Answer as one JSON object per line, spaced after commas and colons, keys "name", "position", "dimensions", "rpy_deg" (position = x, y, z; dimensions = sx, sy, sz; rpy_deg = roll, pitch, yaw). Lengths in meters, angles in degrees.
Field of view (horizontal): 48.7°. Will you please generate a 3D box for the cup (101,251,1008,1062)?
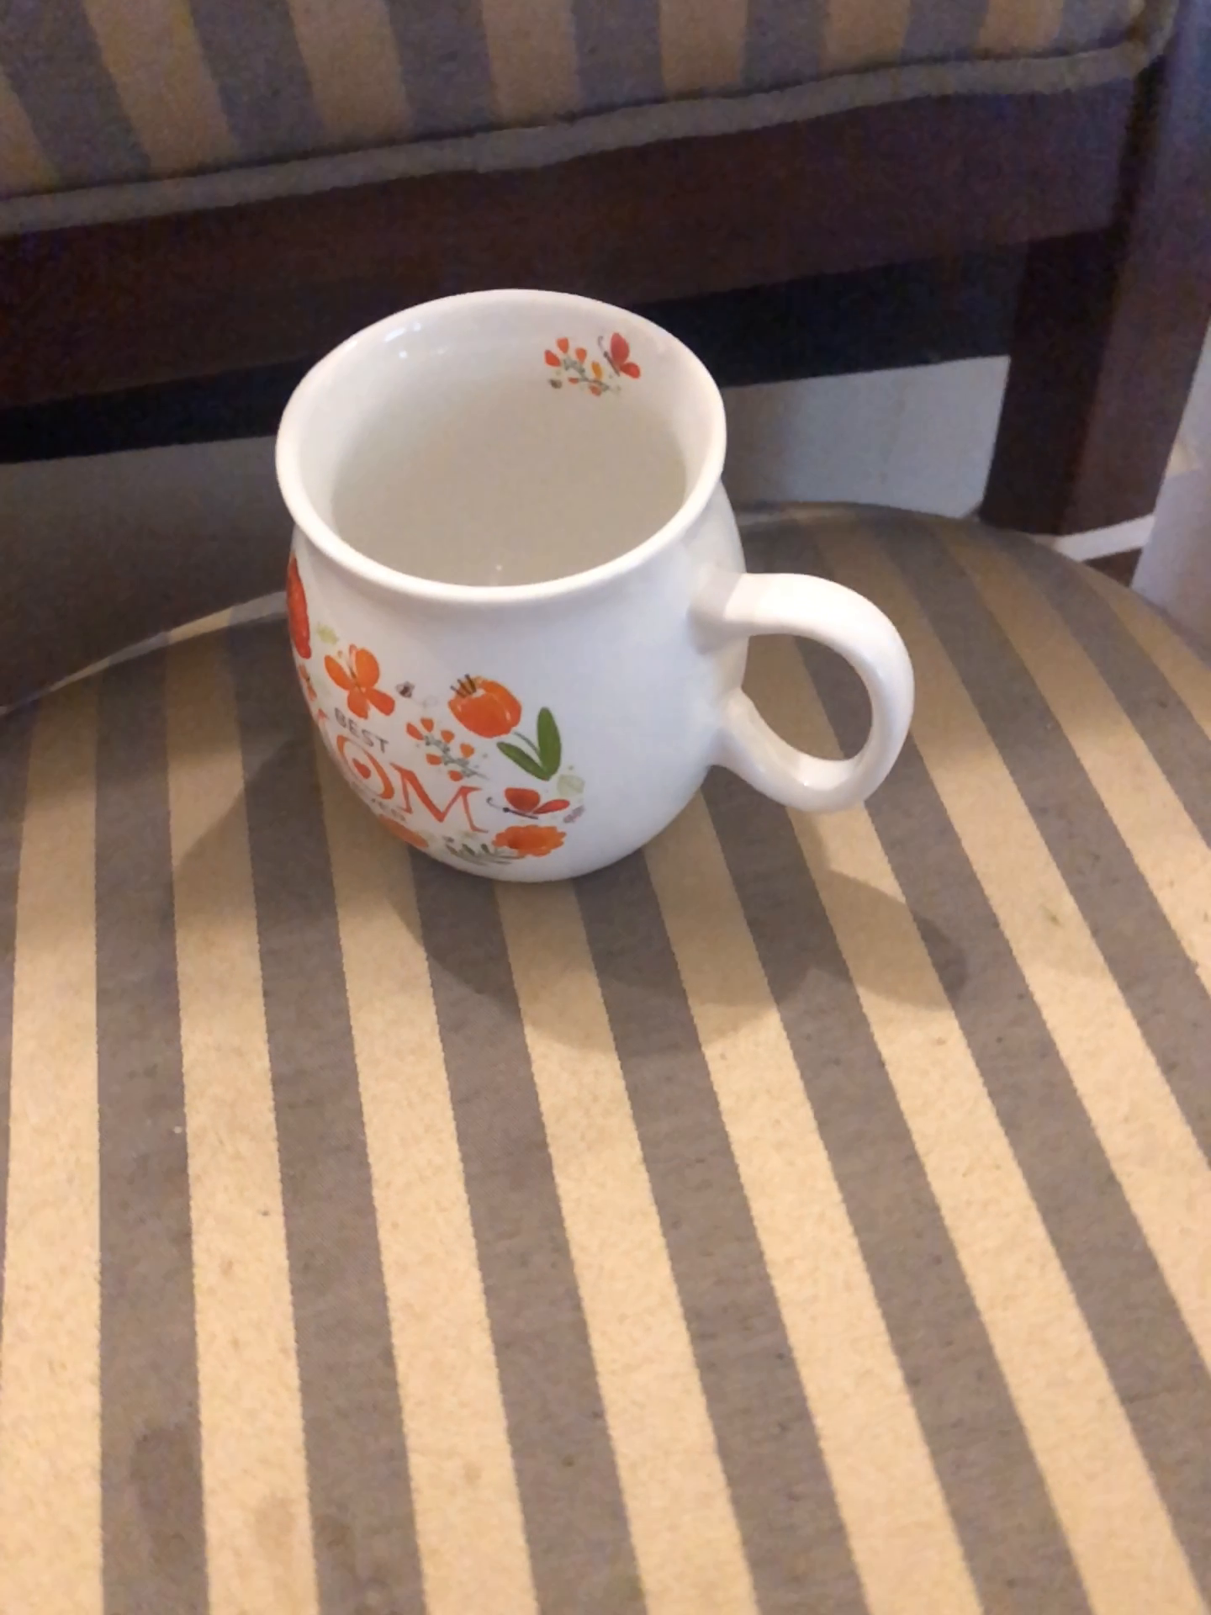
{"name": "cup", "position": [-0.006, -0.038, 0.294], "dimensions": [0.140, 0.090, 0.110], "rpy_deg": [21, 56, 18]}
